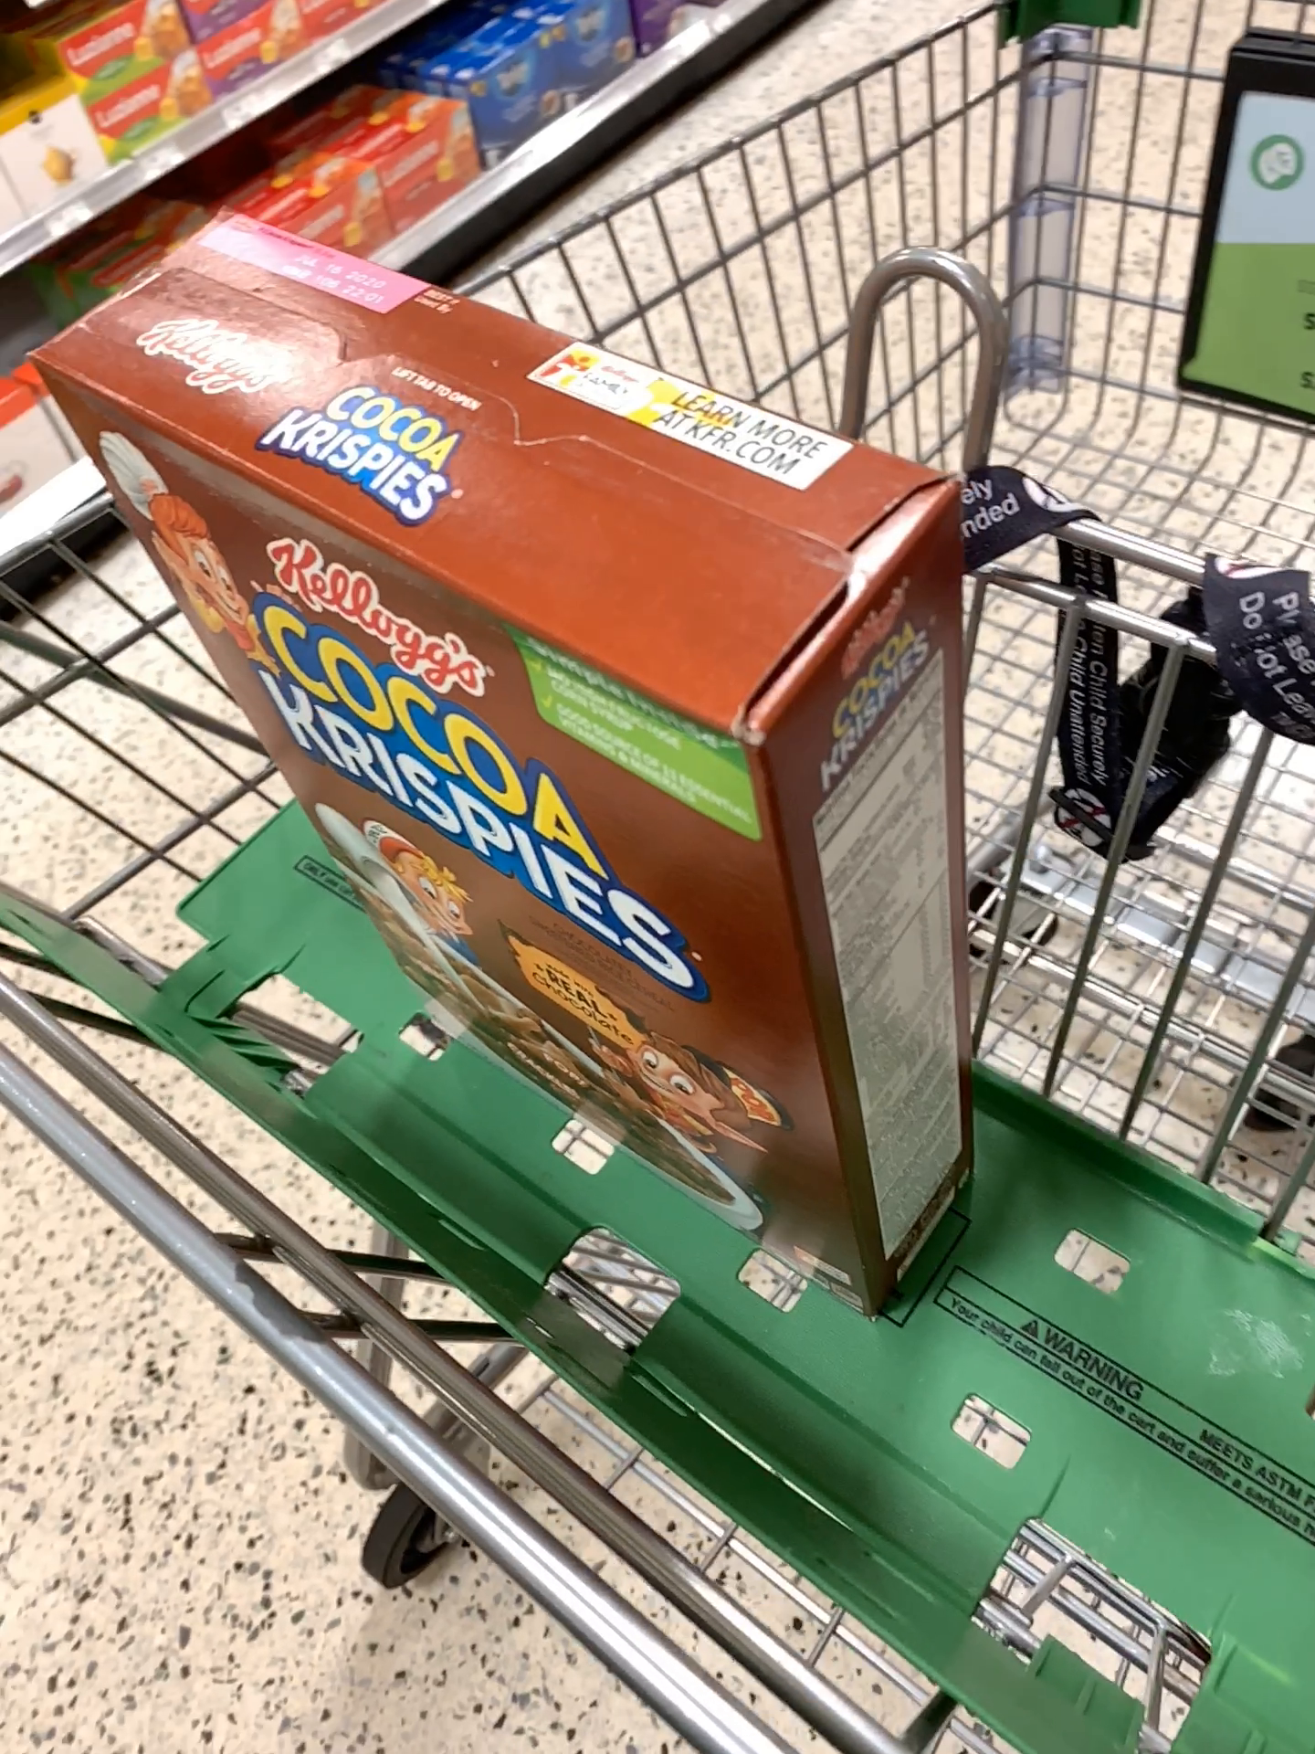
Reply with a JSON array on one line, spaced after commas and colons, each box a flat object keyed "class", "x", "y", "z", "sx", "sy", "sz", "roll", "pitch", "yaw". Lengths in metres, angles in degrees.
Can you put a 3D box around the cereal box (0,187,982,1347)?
[{"class": "cereal box", "x": -0.017, "y": -0.002, "z": 0.365, "sx": 0.201, "sy": 0.307, "sz": 0.060, "roll": 31, "pitch": 68, "yaw": 29}]
